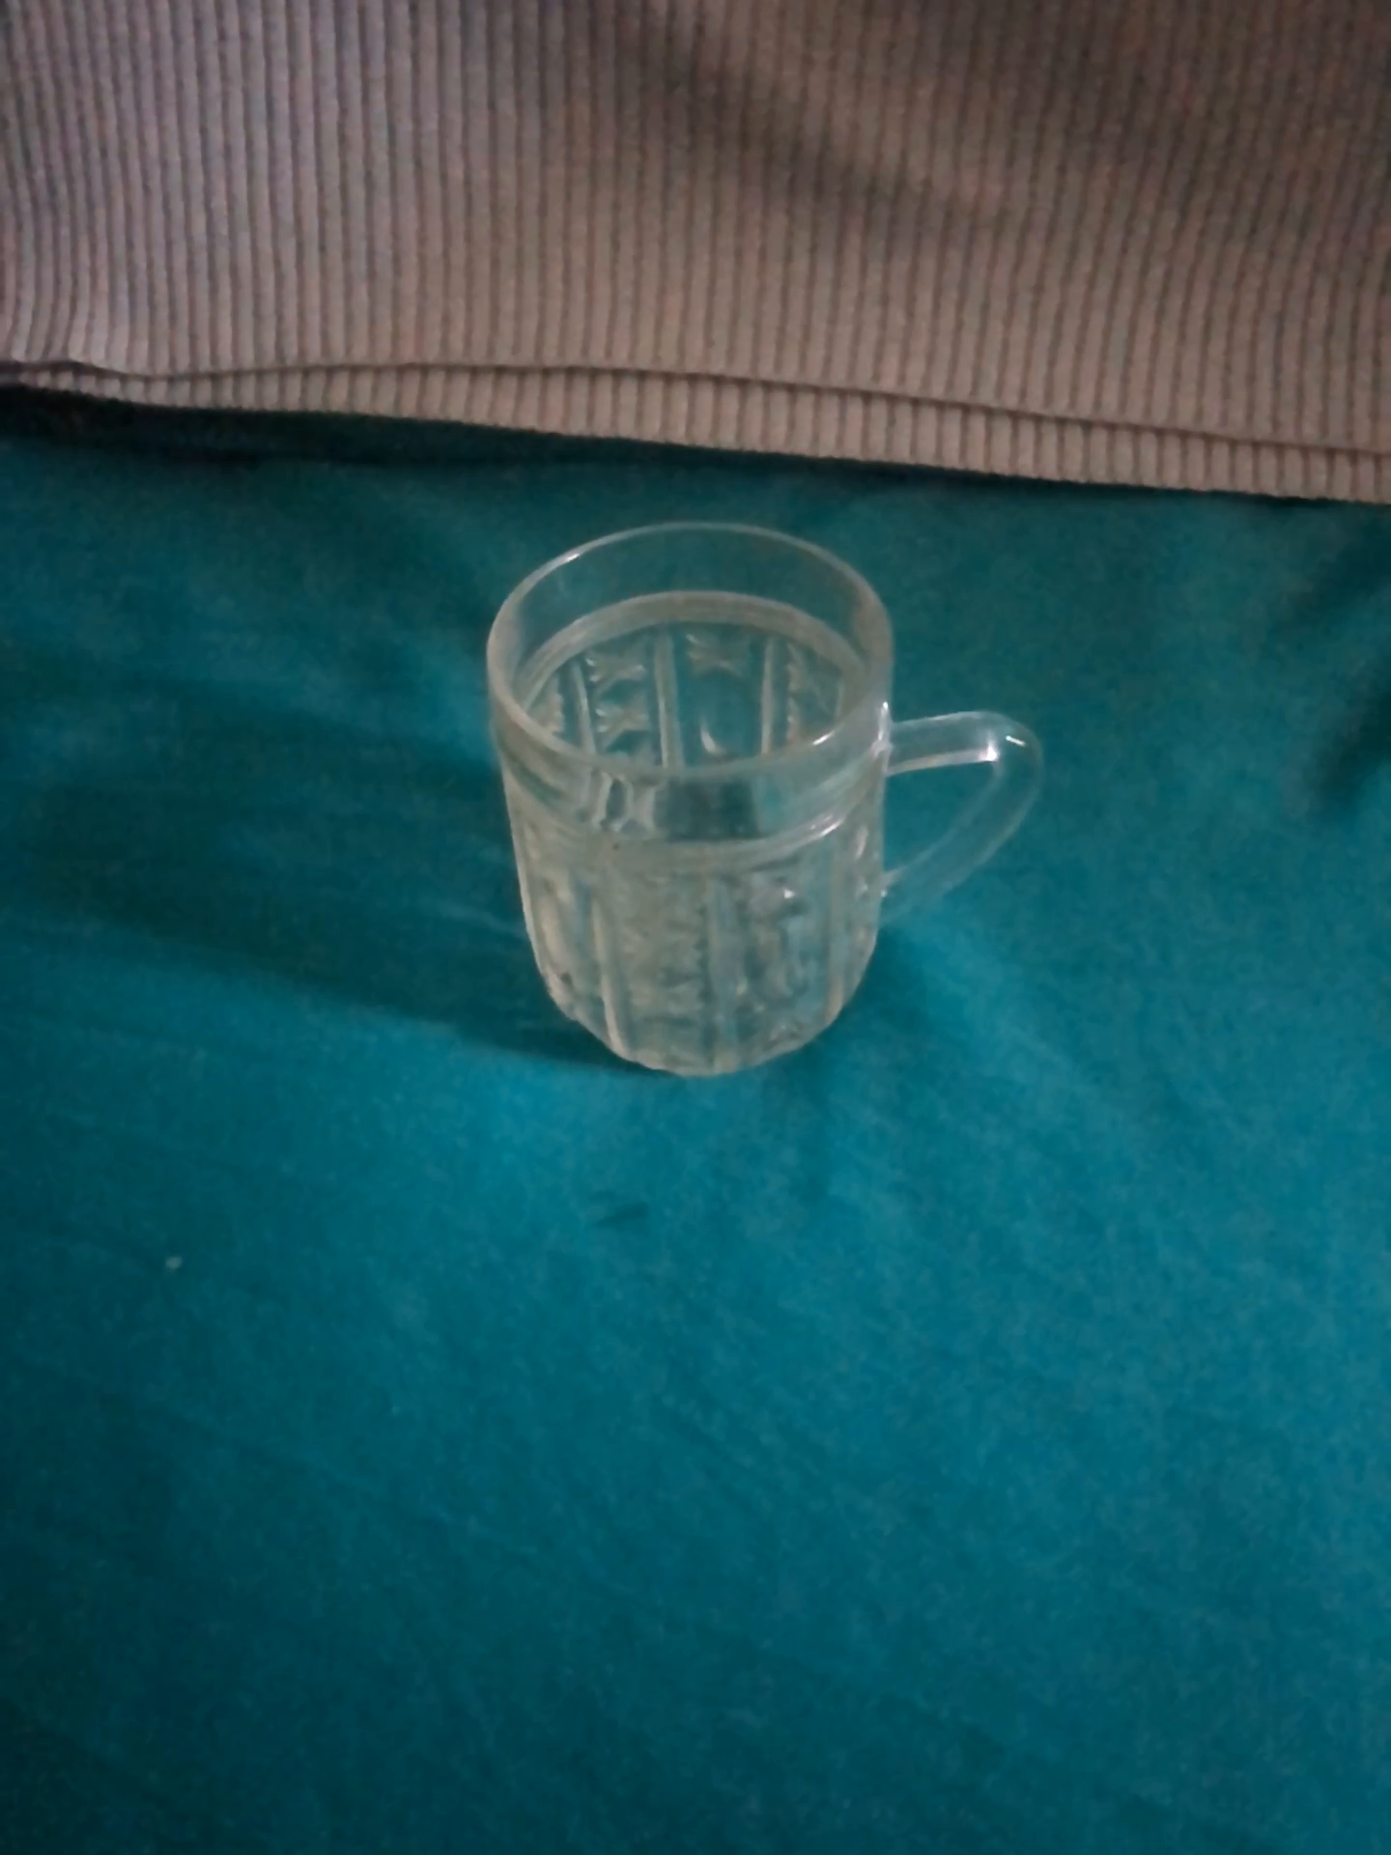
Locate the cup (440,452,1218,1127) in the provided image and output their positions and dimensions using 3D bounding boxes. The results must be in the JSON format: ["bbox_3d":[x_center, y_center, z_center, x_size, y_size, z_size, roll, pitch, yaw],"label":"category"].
[{"bbox_3d":[0.017,-0.022,0.263,0.104,0.076,0.064,-10,53,-7],"label":"cup"}]
